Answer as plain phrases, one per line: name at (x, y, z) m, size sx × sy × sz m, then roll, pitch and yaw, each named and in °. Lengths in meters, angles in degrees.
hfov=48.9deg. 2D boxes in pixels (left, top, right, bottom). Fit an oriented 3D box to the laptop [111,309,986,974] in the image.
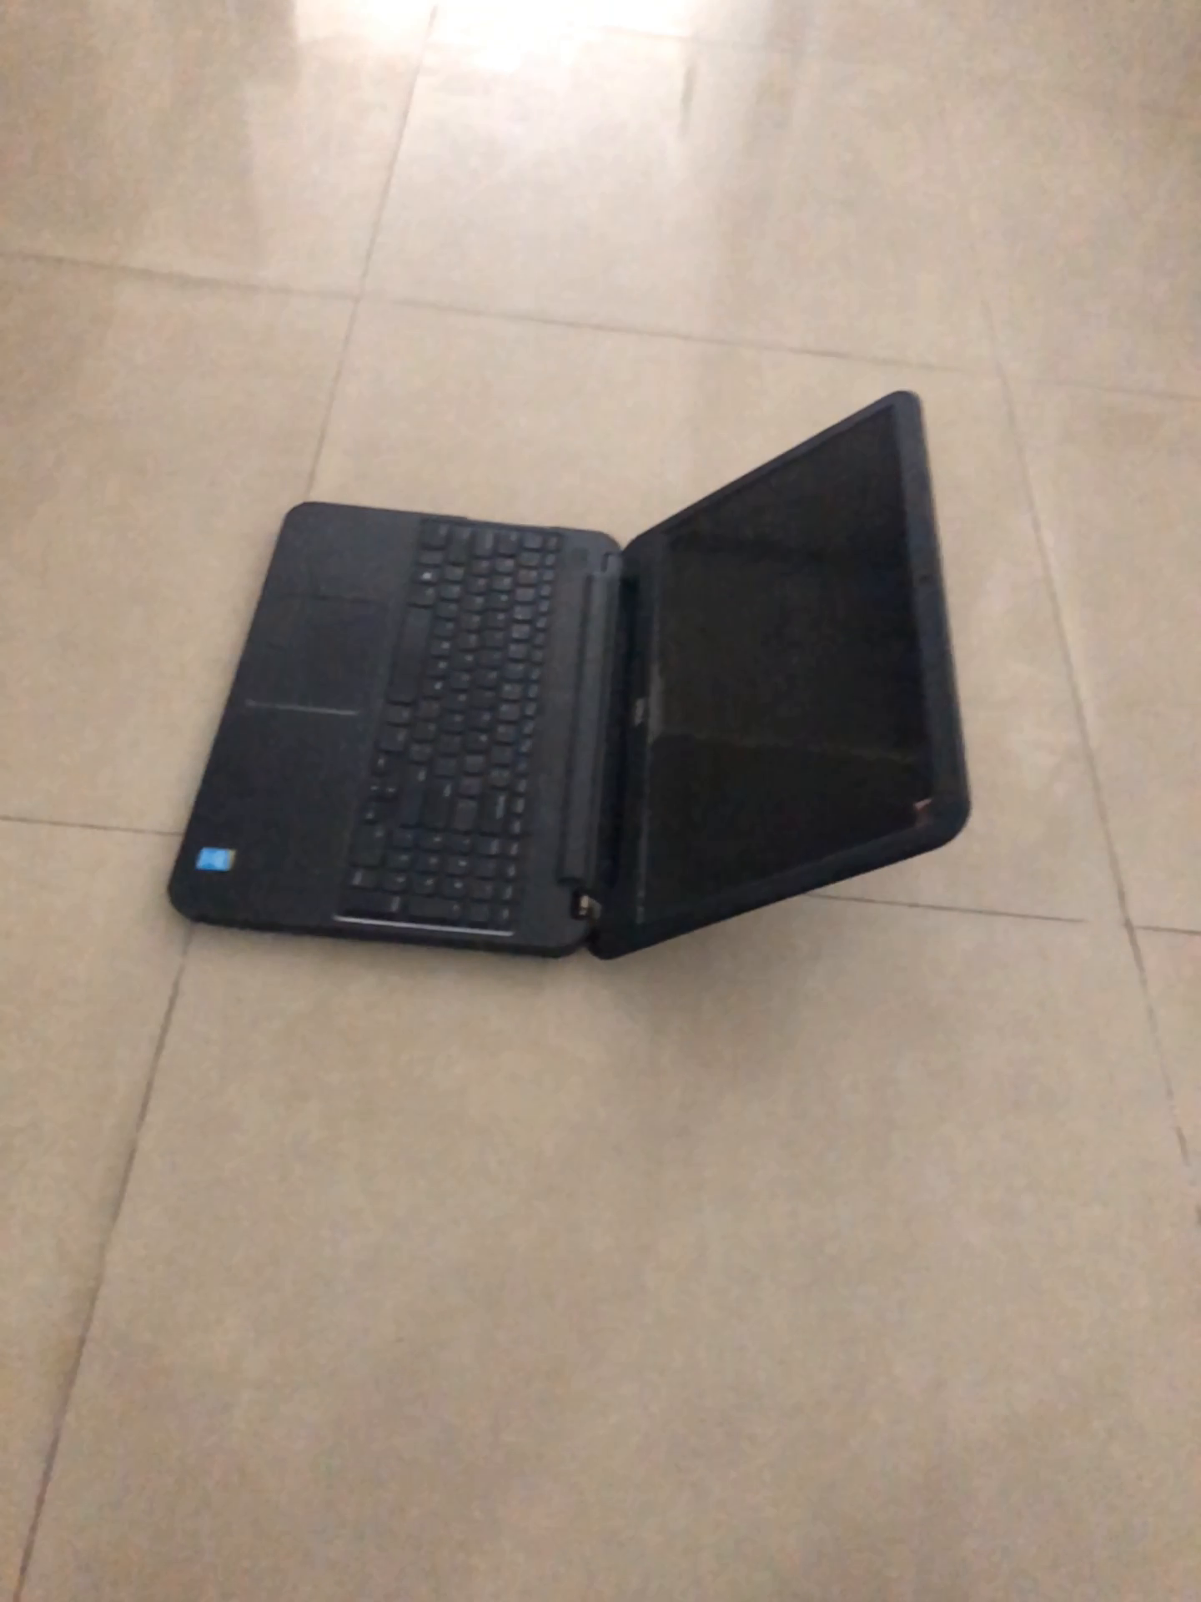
laptop at (-0.019, -0.108, 0.817) m, size 0.427 × 0.164 × 0.359 m, roll 6°, pitch 53°, yaw -1°
